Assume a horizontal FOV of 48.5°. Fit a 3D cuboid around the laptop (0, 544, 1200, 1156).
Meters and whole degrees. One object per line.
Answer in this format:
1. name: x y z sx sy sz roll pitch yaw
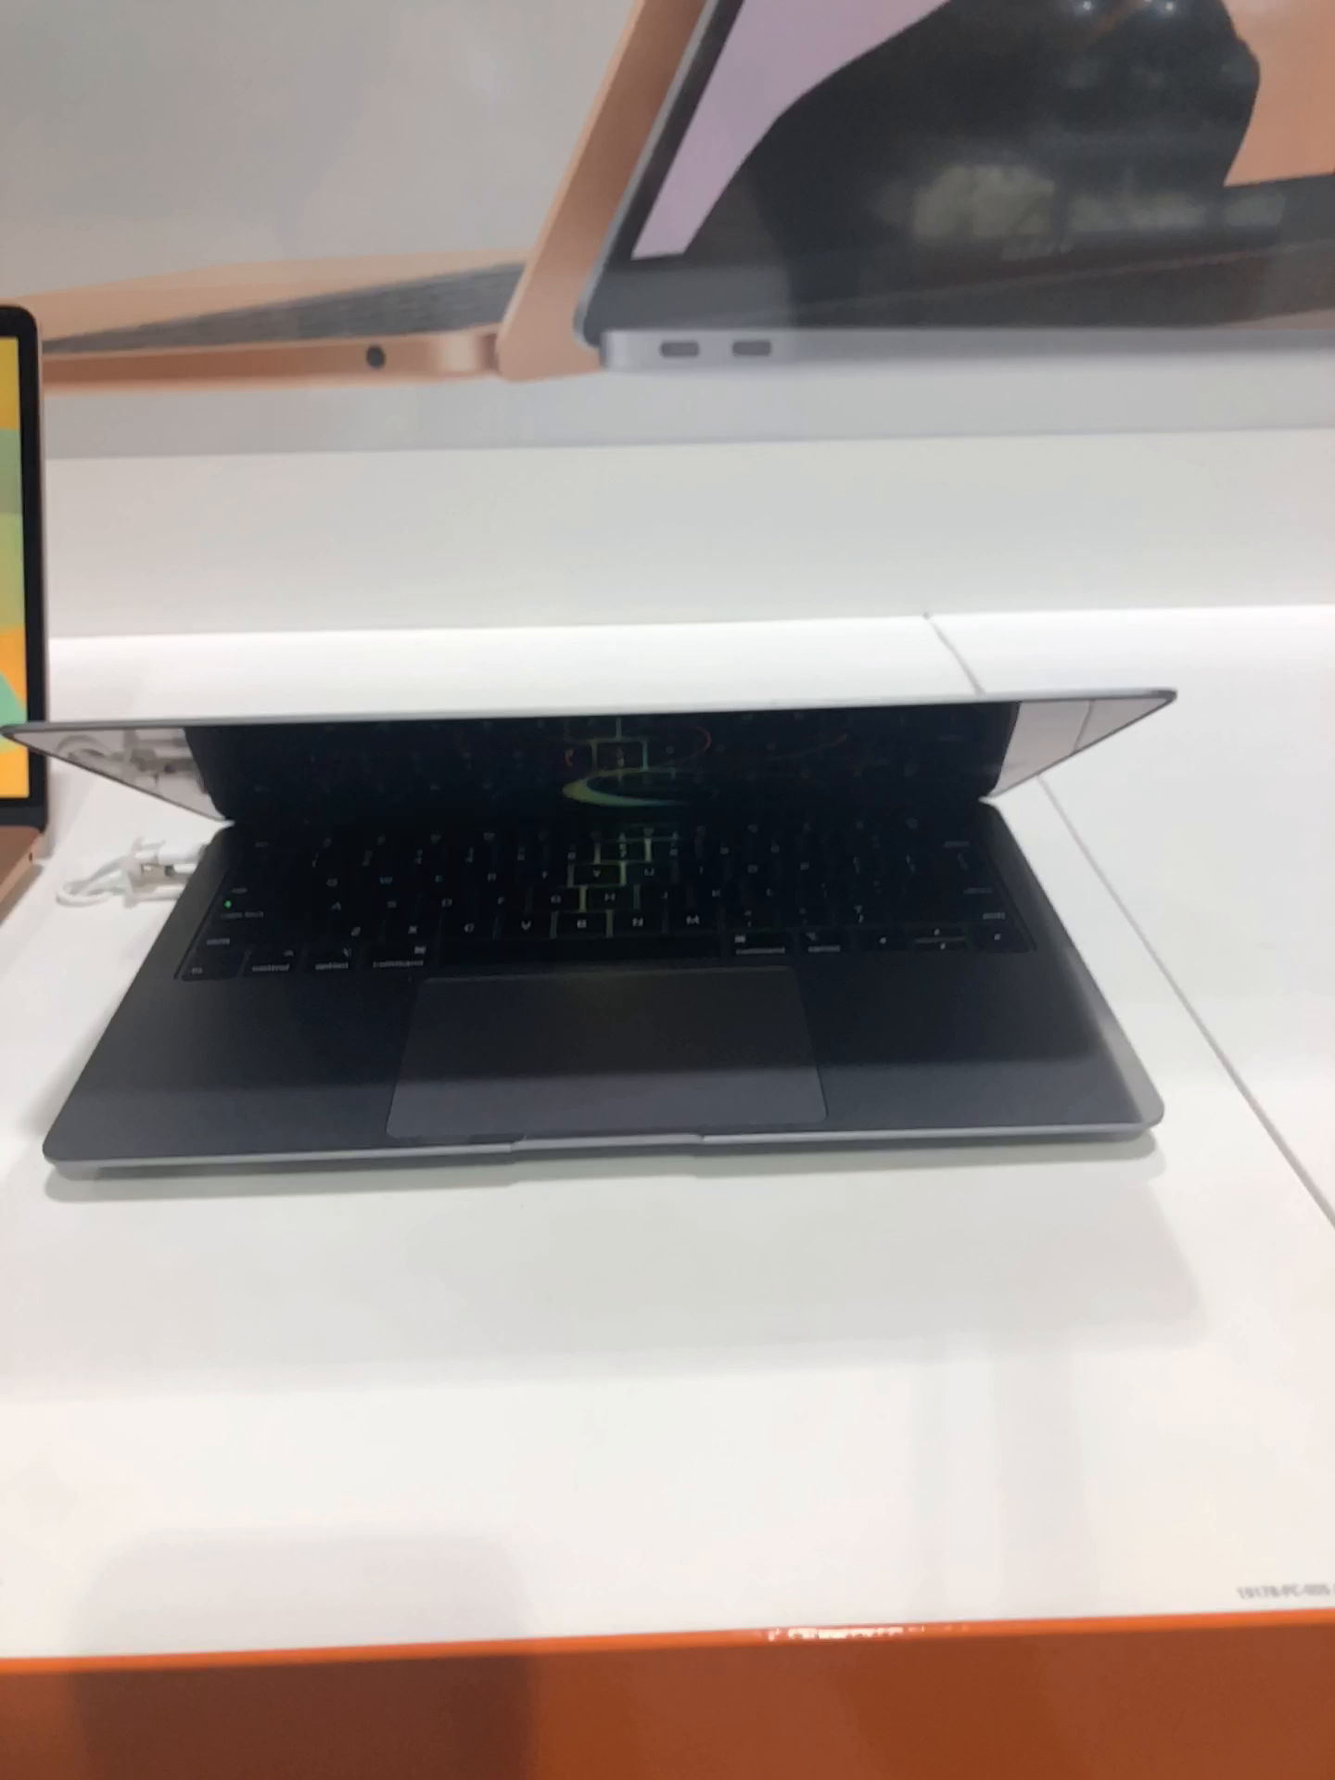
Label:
1. laptop: -0.021 -0.027 0.456 0.288 0.102 0.200 -1 27 -2
